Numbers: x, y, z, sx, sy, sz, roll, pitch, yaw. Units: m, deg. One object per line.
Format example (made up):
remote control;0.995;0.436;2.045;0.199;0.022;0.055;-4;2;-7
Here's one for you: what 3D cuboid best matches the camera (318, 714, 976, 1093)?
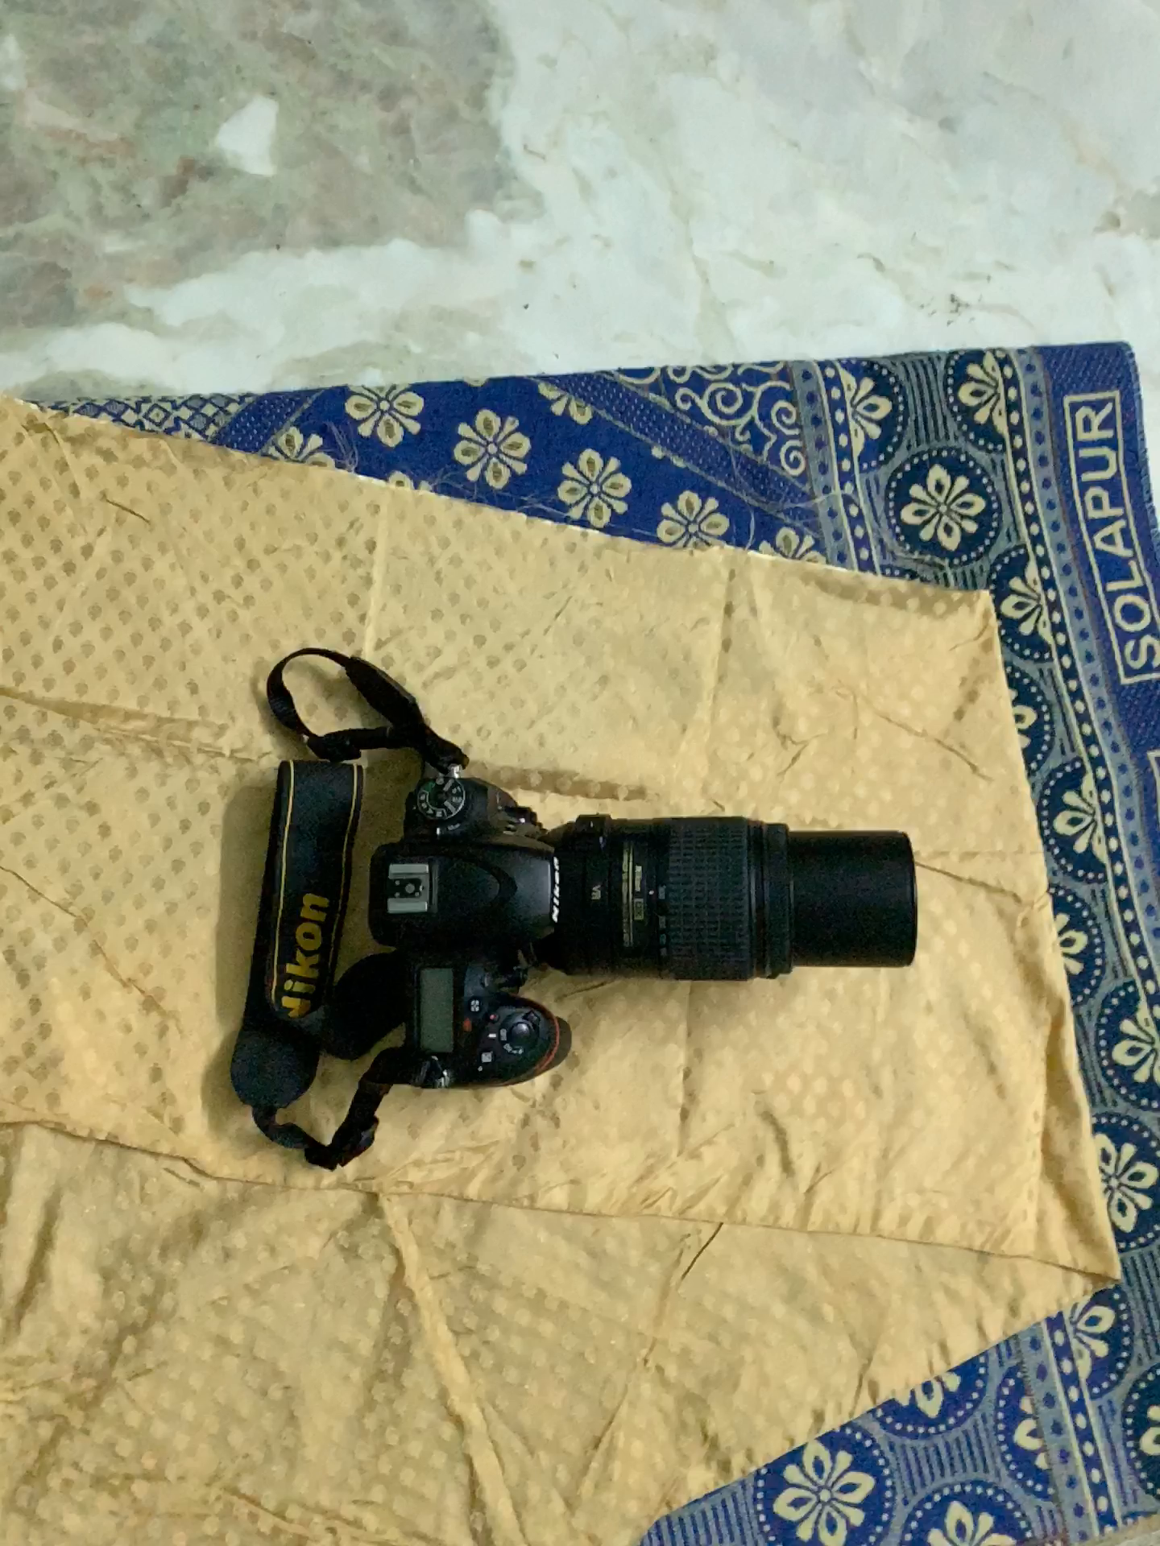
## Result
camera;0.028;0.065;0.534;0.240;0.180;0.140;-1;79;3
